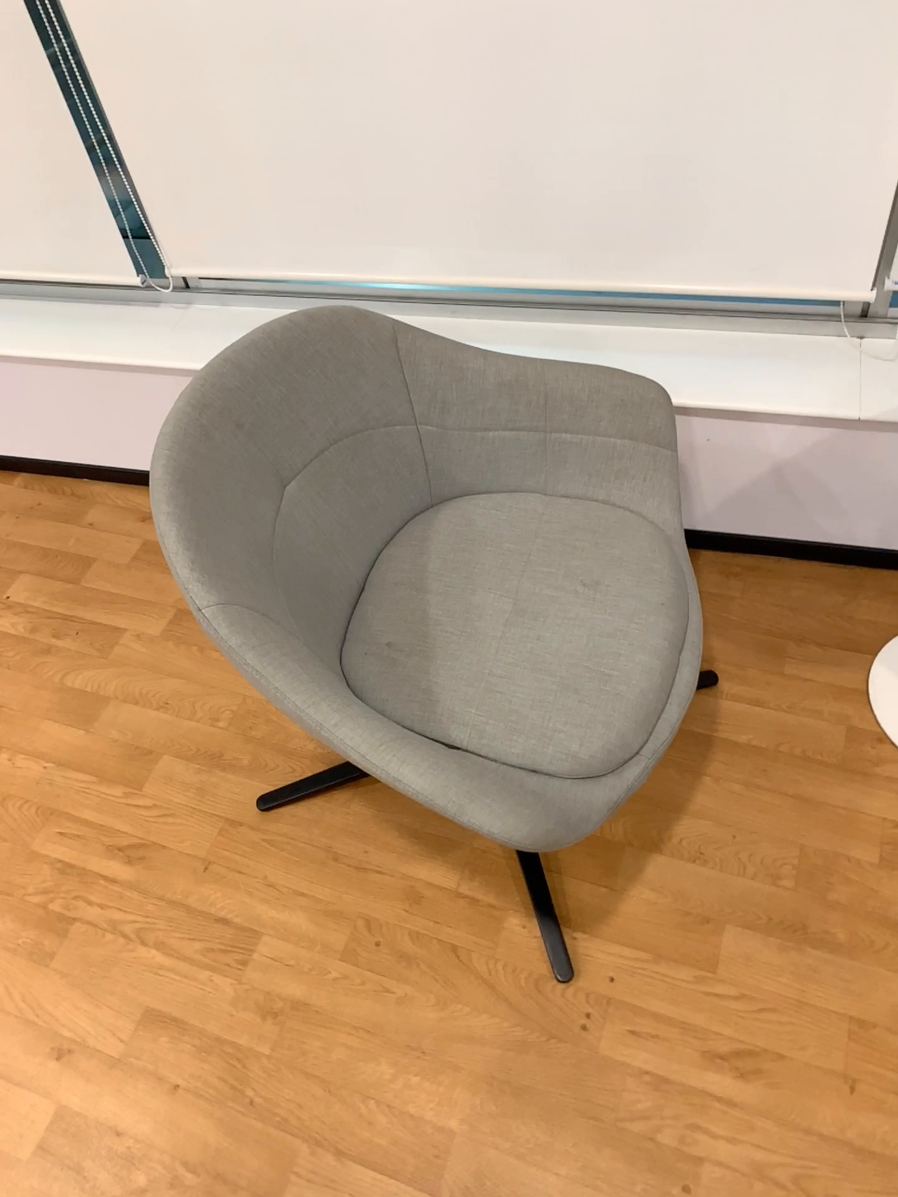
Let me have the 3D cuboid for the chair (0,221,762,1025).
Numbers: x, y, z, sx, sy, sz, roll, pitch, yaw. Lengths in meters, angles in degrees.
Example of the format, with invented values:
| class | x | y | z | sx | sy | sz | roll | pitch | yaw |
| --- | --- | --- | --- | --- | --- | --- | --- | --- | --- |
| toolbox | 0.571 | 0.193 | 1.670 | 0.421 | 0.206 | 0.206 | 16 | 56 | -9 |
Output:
| class | x | y | z | sx | sy | sz | roll | pitch | yaw |
| --- | --- | --- | --- | --- | --- | --- | --- | --- | --- |
| chair | -0.022 | 0.028 | 1.276 | 0.681 | 0.754 | 0.674 | 12 | 54 | 19 |
